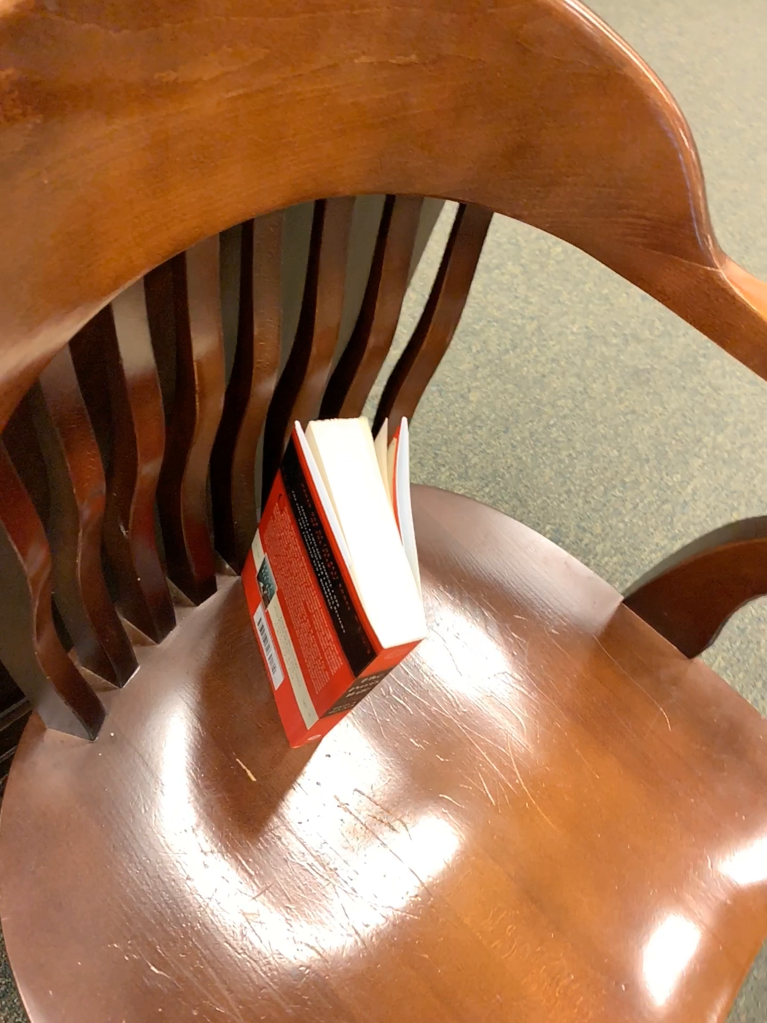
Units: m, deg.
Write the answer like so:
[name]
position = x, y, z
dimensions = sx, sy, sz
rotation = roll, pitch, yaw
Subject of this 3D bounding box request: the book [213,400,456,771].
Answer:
[book]
position = -0.046, 0.054, 0.483
dimensions = 0.071, 0.199, 0.150
rotation = -1, 60, -23
